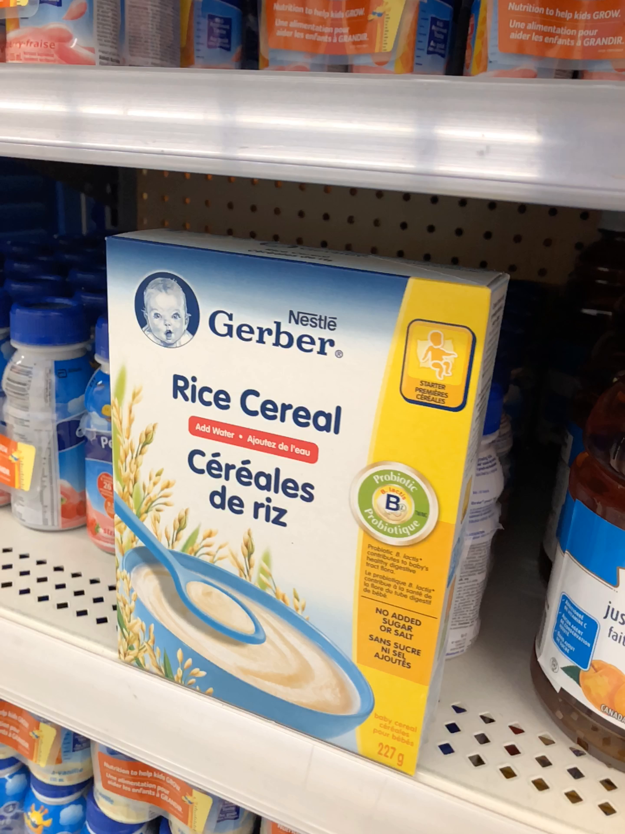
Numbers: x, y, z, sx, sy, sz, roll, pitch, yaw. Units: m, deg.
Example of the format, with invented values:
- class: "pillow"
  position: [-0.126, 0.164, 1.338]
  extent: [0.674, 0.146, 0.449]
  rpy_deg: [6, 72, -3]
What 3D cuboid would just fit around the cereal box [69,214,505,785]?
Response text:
- class: "cereal box"
  position: [-0.017, 0.028, 0.292]
  extent: [0.150, 0.199, 0.060]
  rpy_deg: [13, 22, 20]
